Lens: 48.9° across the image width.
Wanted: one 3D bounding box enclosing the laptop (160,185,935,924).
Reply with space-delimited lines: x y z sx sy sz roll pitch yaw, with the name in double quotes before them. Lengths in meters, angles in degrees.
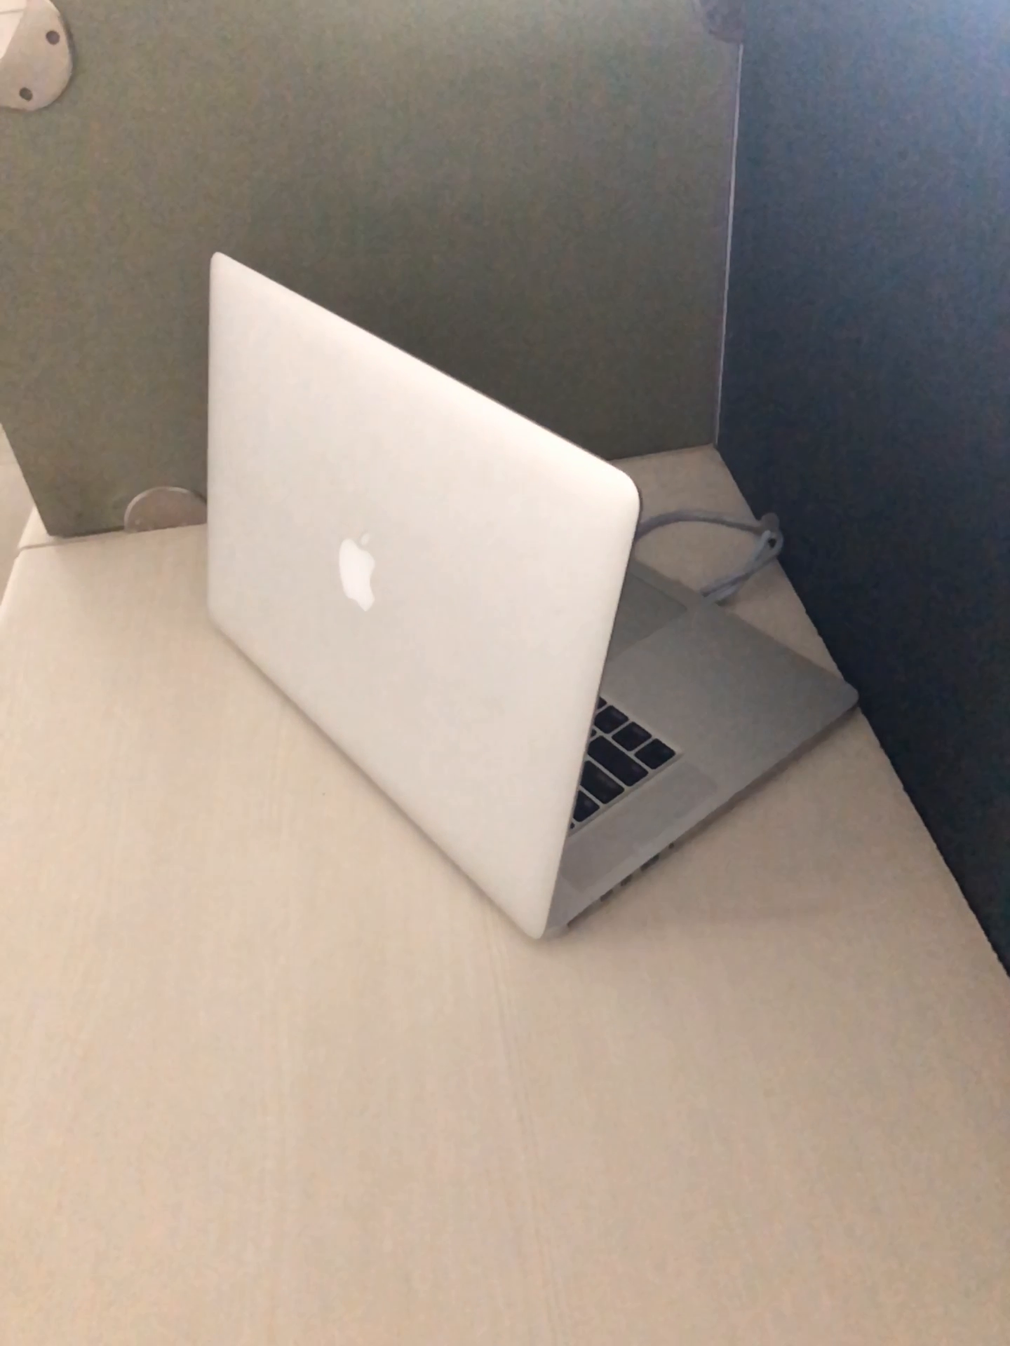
"laptop" 0.014 -0.094 0.637 0.244 0.232 0.323 -29 46 -25
